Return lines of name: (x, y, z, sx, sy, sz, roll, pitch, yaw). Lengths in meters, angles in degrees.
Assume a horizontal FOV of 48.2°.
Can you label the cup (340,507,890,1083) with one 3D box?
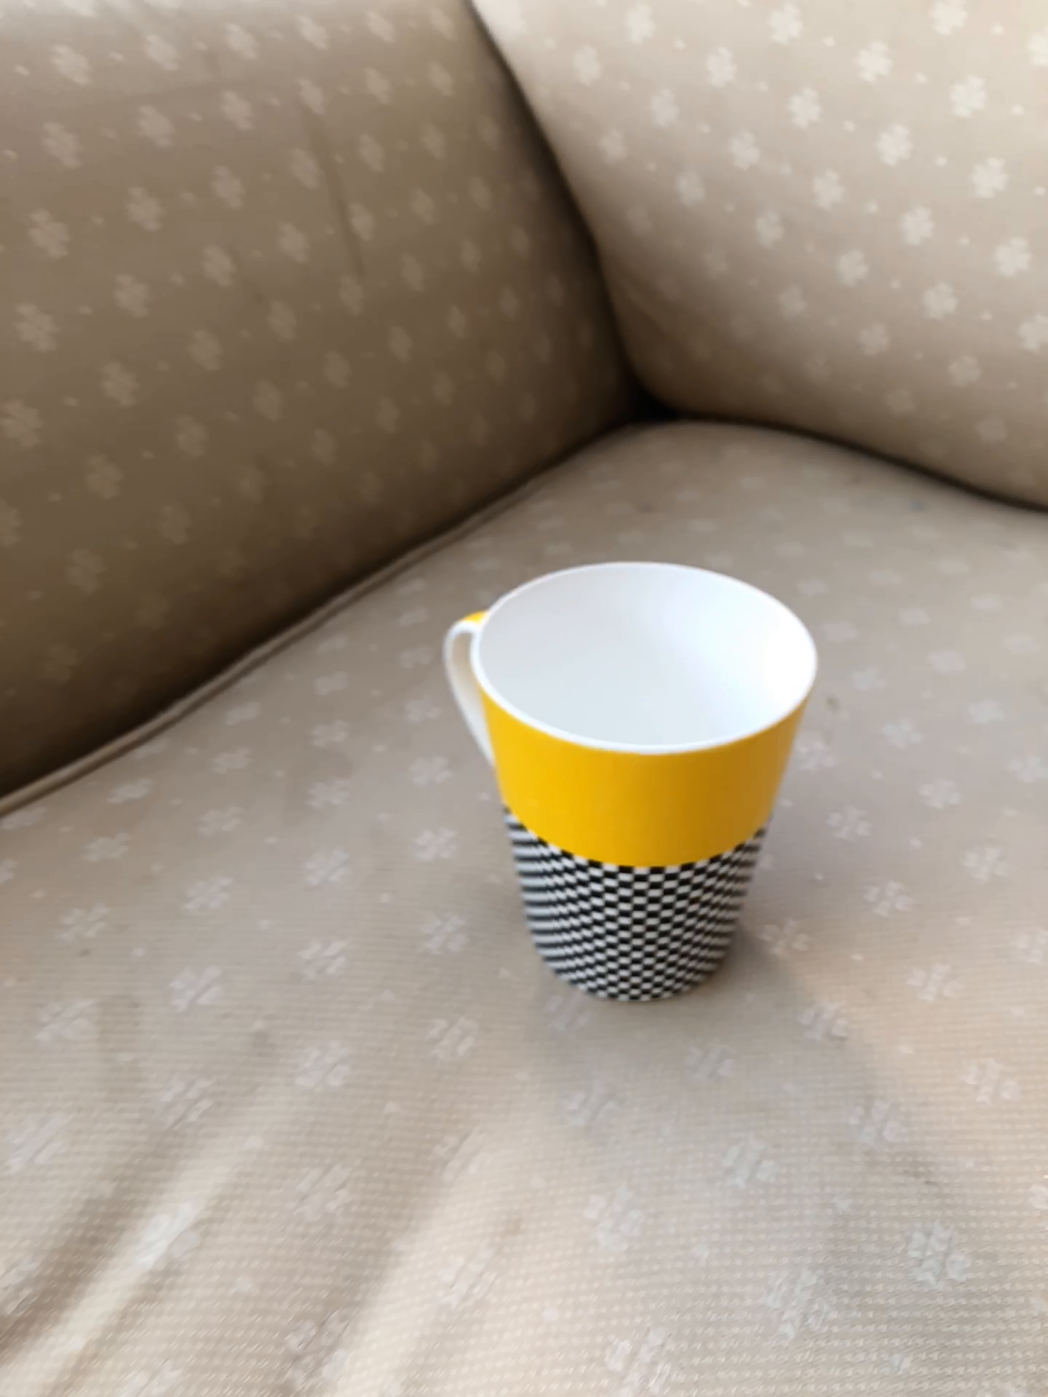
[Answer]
cup: (0.022, 0.019, 0.328, 0.088, 0.090, 0.112, -30, 45, -34)
